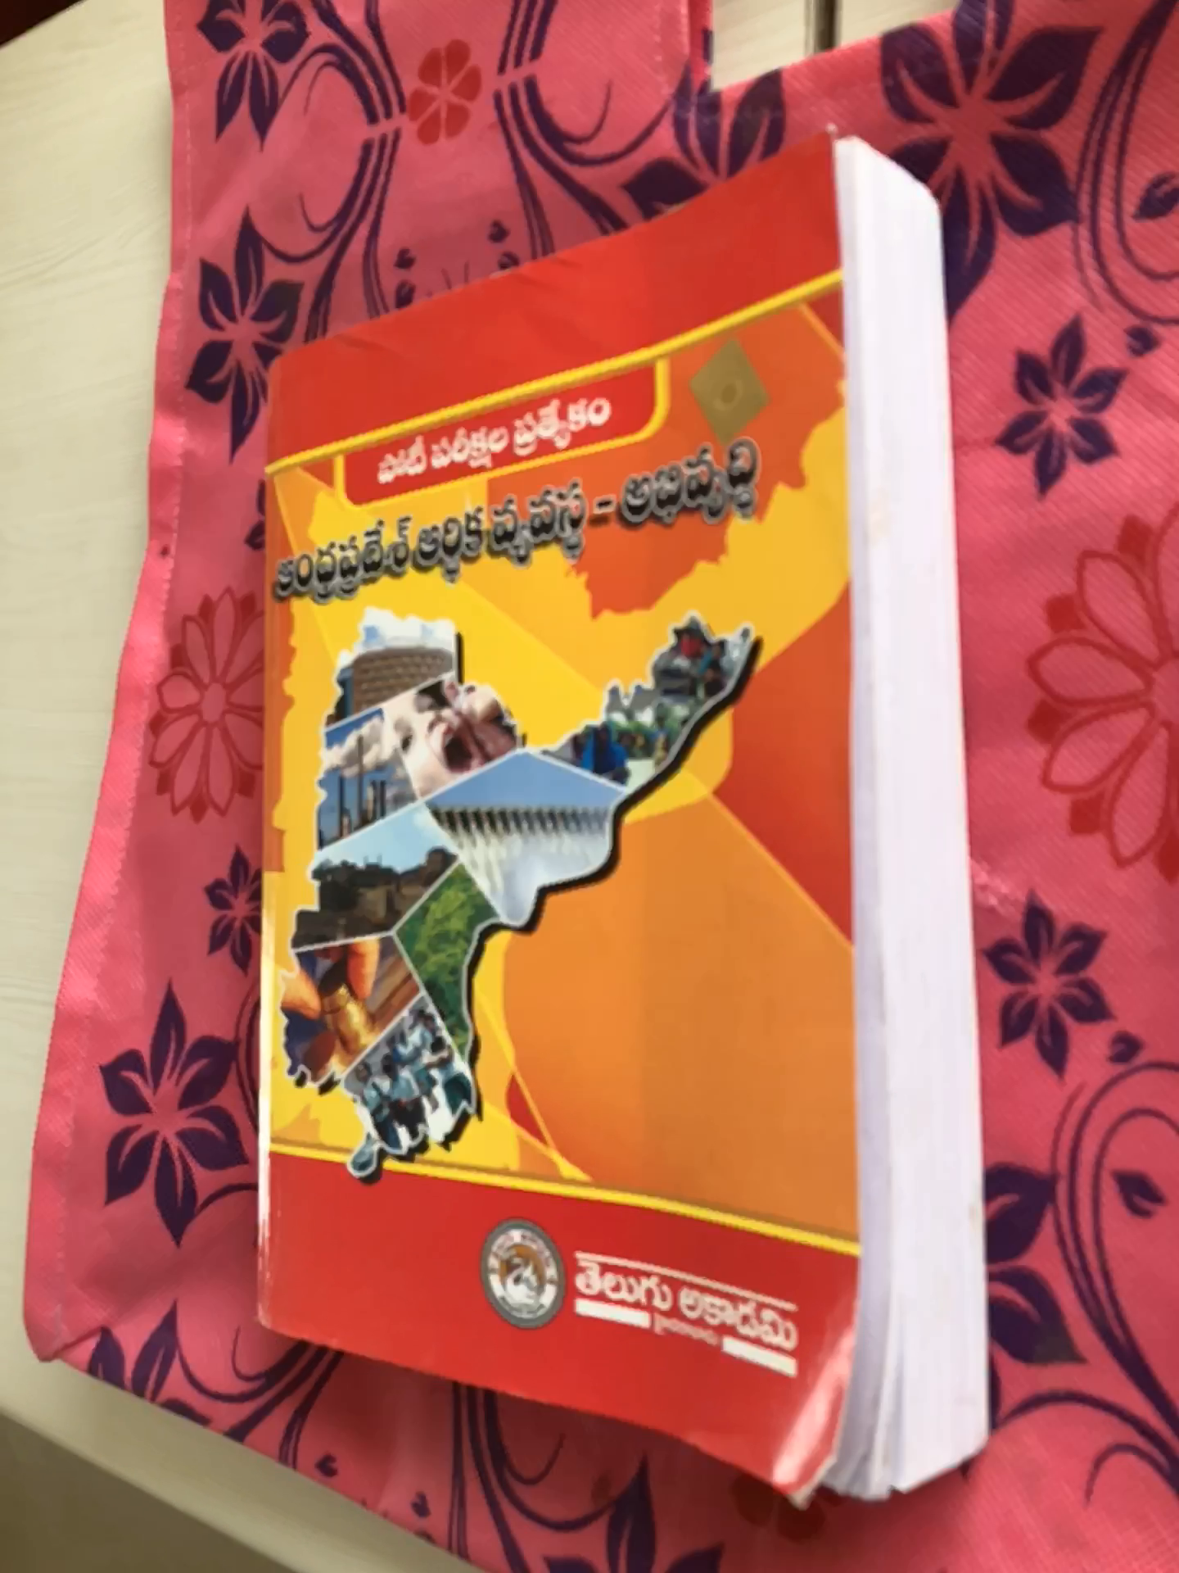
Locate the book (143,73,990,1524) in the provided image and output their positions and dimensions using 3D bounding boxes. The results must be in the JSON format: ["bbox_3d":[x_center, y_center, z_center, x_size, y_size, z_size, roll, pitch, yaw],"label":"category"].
[{"bbox_3d":[-0.018,0.004,0.312,0.201,0.060,0.260,-3,87,35],"label":"book"}]
